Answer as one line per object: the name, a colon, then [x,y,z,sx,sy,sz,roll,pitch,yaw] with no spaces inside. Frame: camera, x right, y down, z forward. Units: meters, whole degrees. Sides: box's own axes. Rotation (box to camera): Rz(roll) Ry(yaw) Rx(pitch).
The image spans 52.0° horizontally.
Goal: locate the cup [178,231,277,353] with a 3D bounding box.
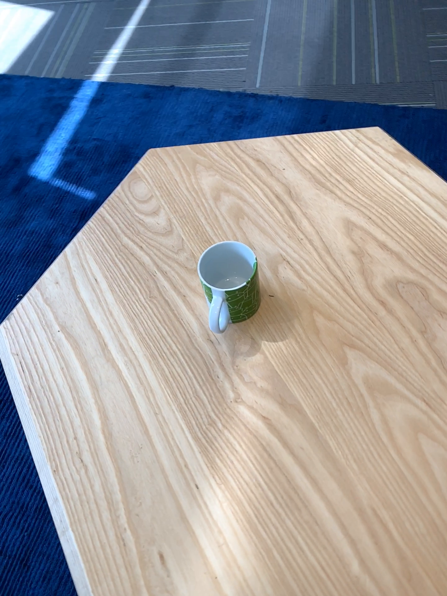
cup: [0.011,-0.008,0.622,0.090,0.090,0.120,14,63,16]
